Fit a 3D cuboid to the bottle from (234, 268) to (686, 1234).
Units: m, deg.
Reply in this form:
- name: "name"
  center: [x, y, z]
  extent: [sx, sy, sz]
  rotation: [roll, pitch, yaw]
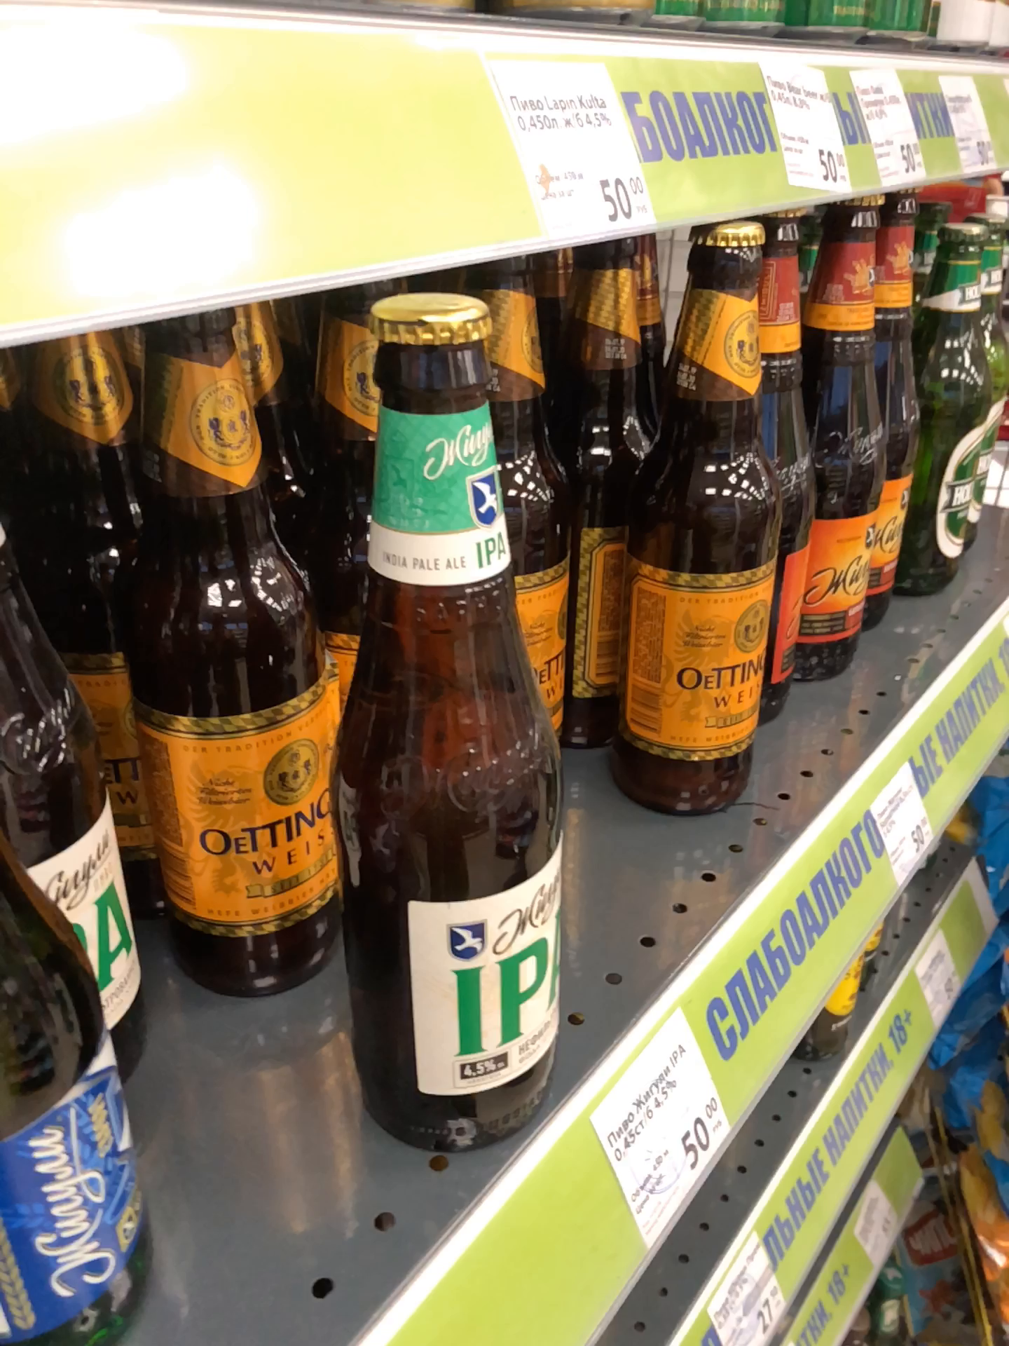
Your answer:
- name: "bottle"
  center: [-0.013, 0.028, 0.318]
  extent: [0.070, 0.257, 0.080]
  rotation: [21, 33, 32]
